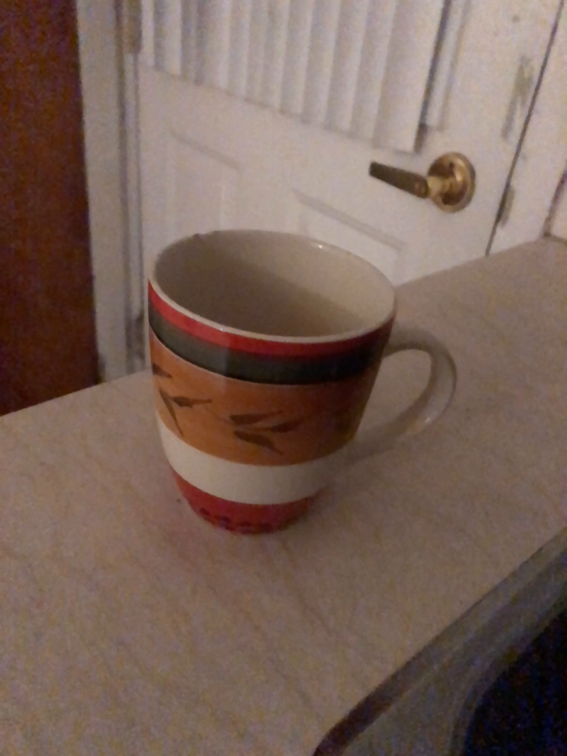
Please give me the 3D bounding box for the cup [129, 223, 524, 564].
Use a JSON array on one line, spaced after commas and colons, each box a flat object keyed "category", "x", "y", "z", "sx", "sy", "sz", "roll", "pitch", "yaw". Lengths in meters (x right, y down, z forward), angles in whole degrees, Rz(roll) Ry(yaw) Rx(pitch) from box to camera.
[{"category": "cup", "x": 0.005, "y": 0.001, "z": 0.293, "sx": 0.143, "sy": 0.109, "sz": 0.101, "roll": -3, "pitch": 35, "yaw": -15}]
